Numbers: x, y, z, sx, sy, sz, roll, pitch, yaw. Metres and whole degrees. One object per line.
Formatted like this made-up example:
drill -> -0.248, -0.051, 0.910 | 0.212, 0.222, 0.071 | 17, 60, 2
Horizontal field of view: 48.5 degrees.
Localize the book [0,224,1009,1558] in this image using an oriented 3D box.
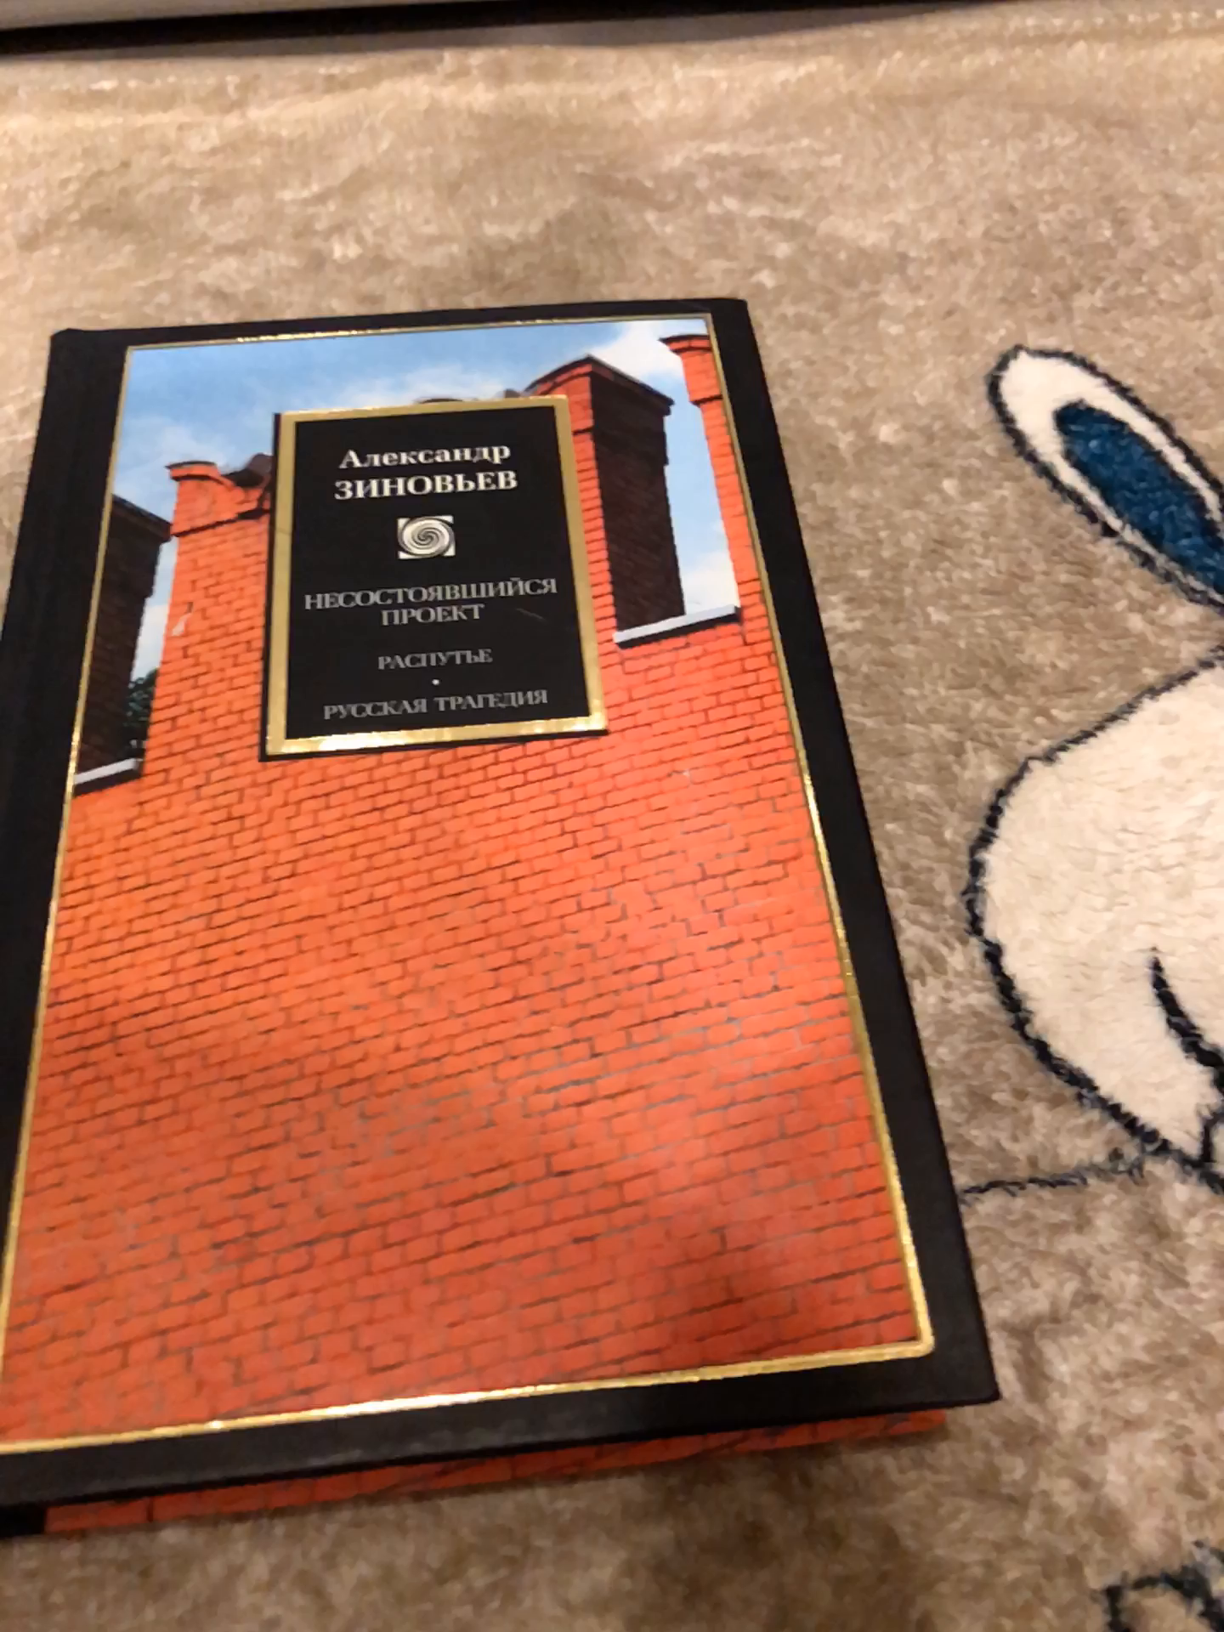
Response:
book -> -0.037, -0.010, 0.216 | 0.140, 0.040, 0.211 | -4, 57, -3
